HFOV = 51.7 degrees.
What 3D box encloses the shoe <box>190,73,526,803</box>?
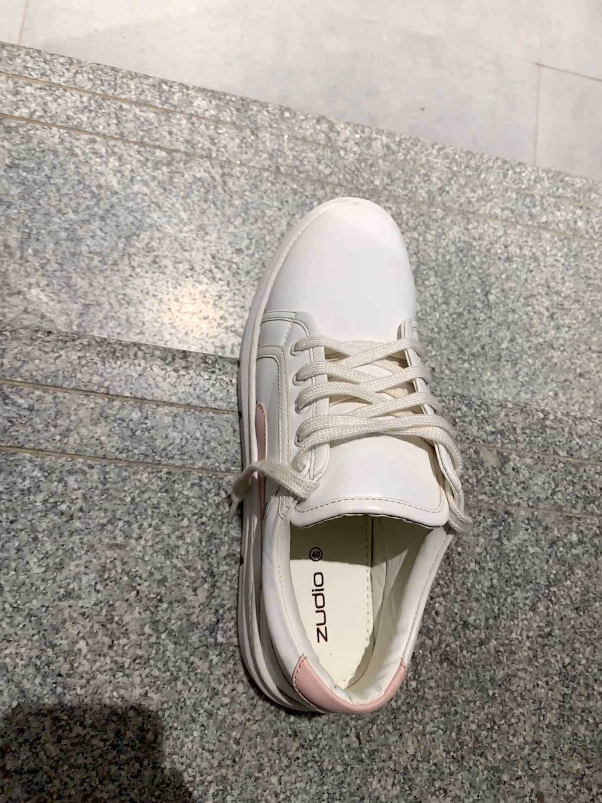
[{"bbox_3d":[0.021,0.022,0.298,0.110,0.110,0.290,7,82,-11],"label":"shoe"}]
